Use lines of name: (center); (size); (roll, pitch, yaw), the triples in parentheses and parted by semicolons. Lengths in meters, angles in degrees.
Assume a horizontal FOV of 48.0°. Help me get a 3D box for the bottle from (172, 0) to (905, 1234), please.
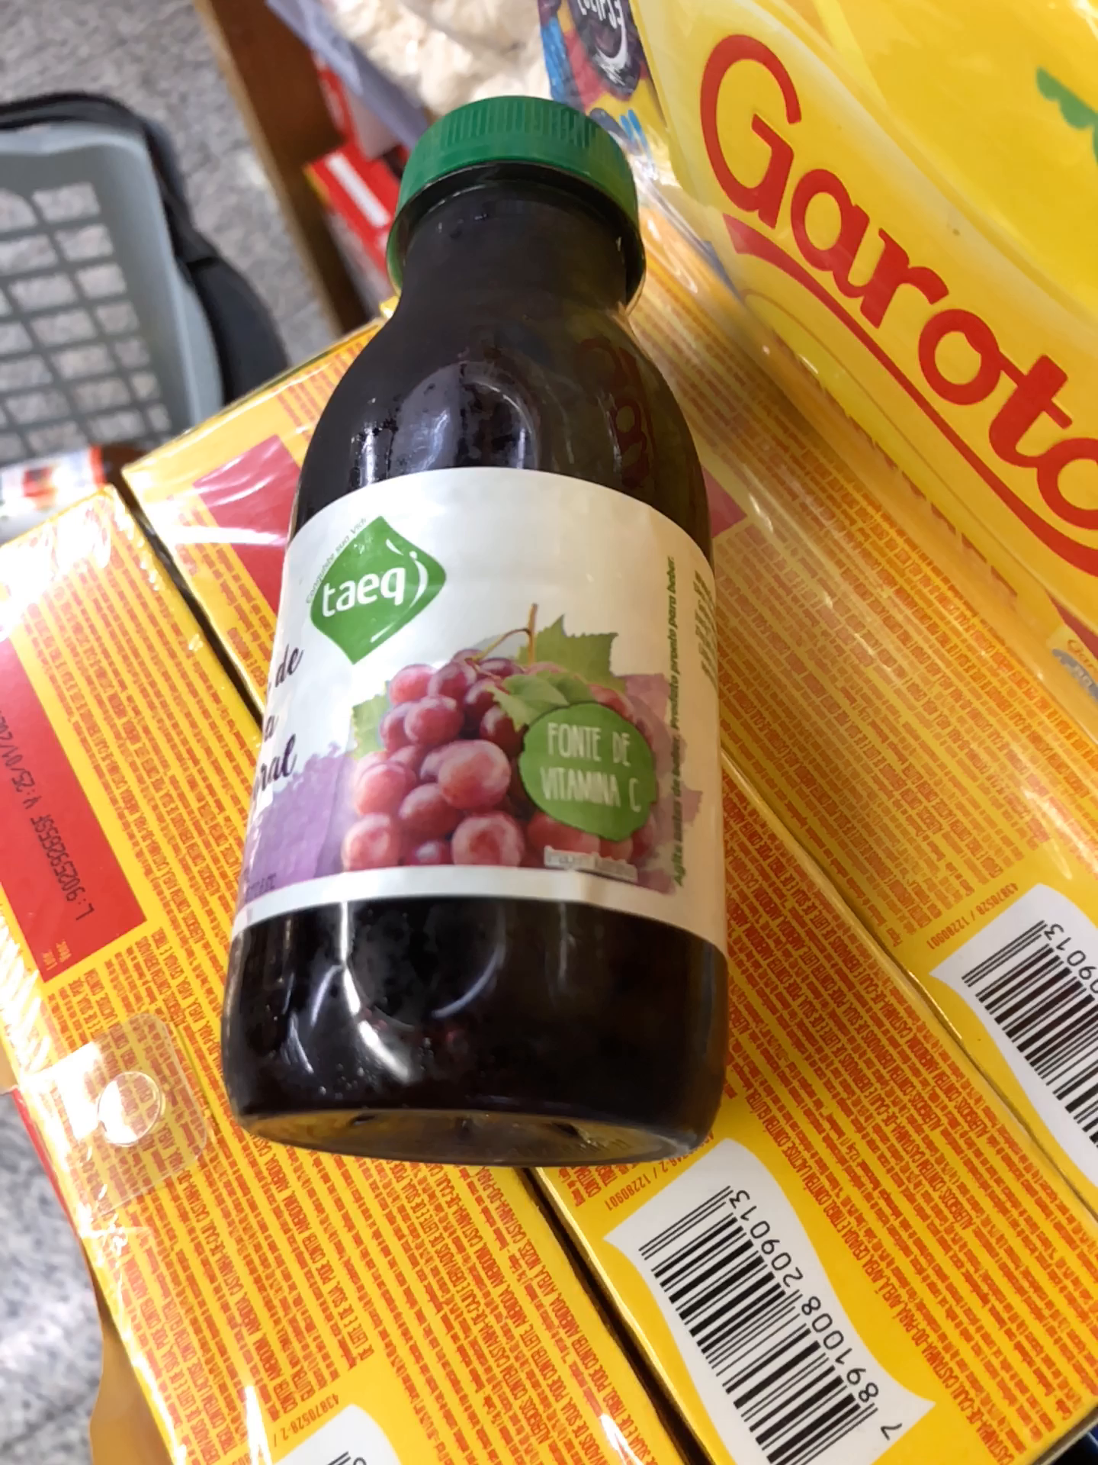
bottle: (0.004, -0.023, 0.176); (0.070, 0.050, 0.171); (-1, 64, 8)
